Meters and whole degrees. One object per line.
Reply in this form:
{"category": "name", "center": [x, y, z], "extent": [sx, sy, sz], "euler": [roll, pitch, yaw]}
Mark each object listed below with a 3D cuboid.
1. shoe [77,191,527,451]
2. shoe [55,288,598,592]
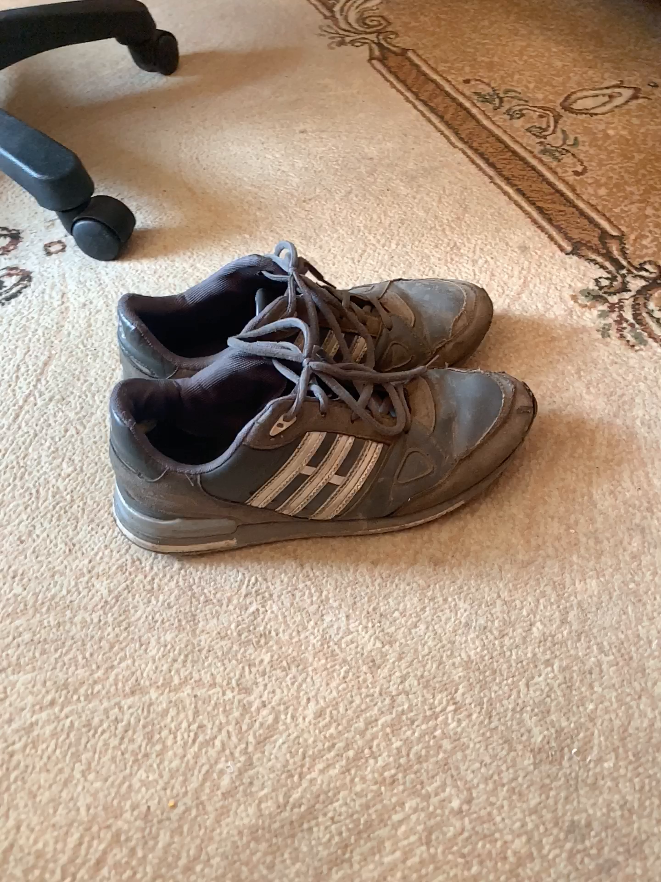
{"category": "shoe", "center": [-0.024, -0.096, 0.536], "extent": [0.310, 0.099, 0.121], "euler": [-10, 53, -4]}
{"category": "shoe", "center": [-0.006, -0.002, 0.458], "extent": [0.313, 0.099, 0.117], "euler": [-10, 53, -4]}
